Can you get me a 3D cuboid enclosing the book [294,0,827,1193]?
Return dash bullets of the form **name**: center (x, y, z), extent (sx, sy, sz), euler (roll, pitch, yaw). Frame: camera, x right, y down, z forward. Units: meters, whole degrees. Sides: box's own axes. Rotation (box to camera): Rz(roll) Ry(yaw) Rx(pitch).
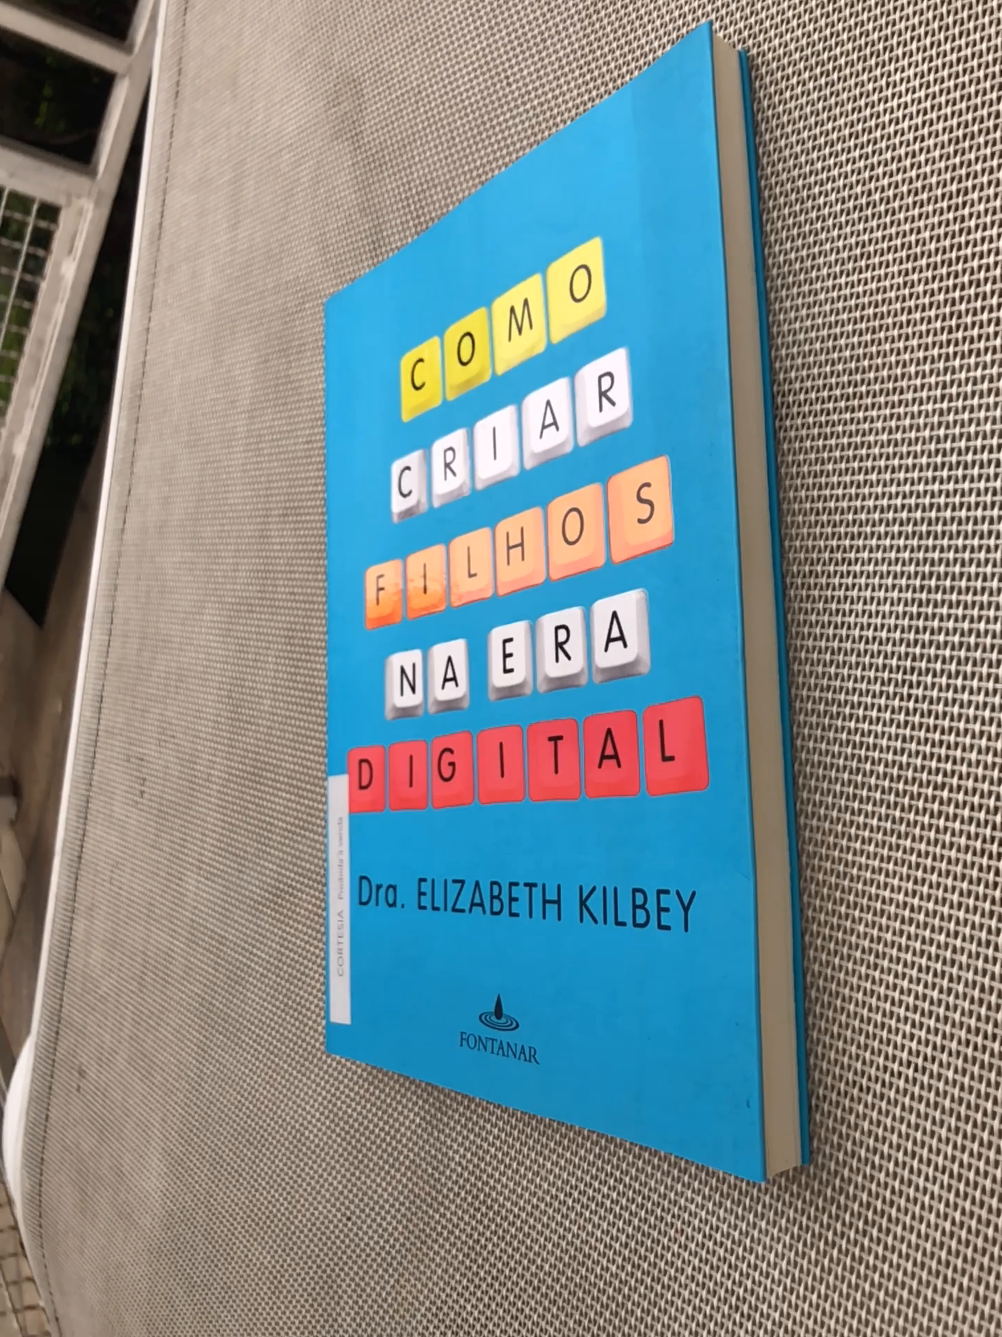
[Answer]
- **book**: center (-0.001, -0.012, 0.279), extent (0.163, 0.020, 0.228), euler (-11, 77, 50)
